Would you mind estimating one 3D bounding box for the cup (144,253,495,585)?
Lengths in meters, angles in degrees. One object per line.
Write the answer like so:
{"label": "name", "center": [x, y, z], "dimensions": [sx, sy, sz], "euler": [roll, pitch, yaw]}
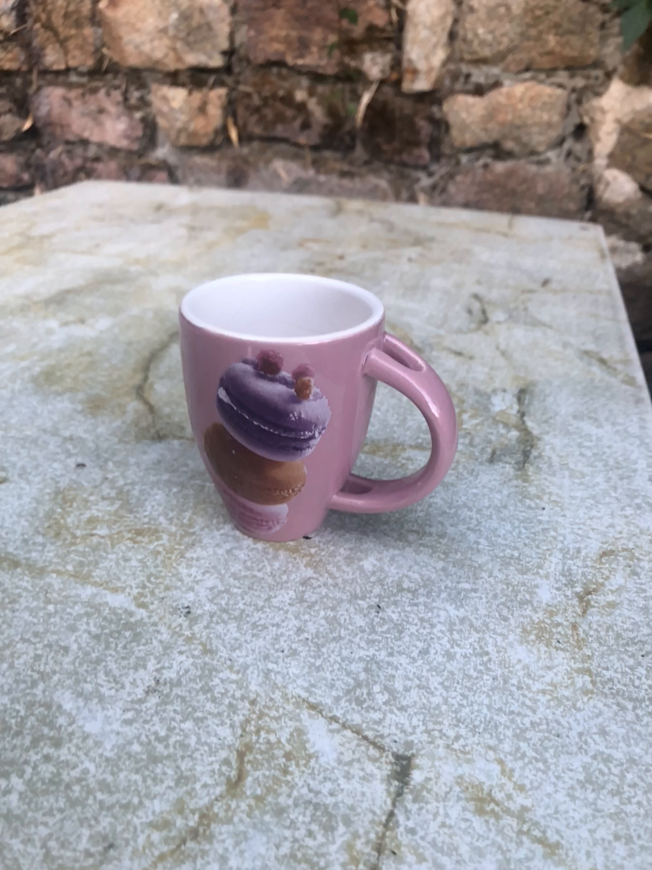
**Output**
{"label": "cup", "center": [-0.001, -0.014, 0.278], "dimensions": [0.099, 0.080, 0.080], "euler": [16, 32, 24]}
